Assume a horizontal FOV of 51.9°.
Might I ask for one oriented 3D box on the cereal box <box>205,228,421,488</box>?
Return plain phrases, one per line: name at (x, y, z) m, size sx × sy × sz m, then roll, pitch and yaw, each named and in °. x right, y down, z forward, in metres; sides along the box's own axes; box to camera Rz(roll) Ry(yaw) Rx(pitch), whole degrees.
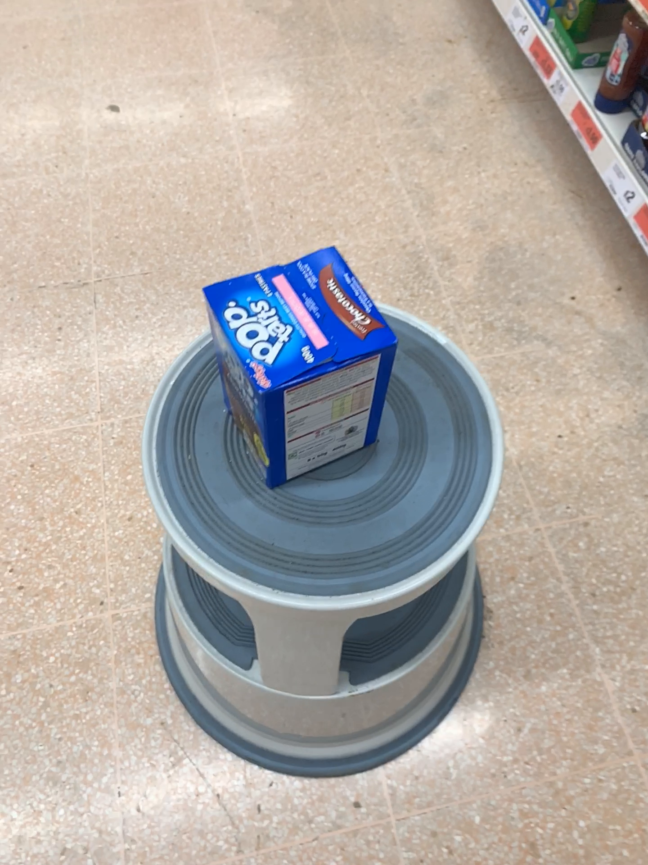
cereal box at (-0.008, -0.051, 0.501) m, size 0.110 × 0.139 × 0.100 m, roll -24°, pitch 63°, yaw -12°
